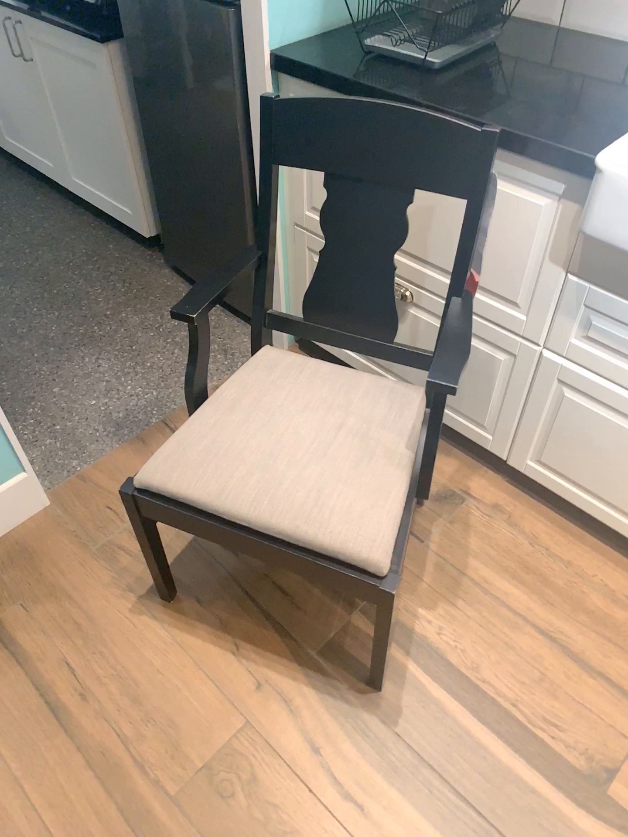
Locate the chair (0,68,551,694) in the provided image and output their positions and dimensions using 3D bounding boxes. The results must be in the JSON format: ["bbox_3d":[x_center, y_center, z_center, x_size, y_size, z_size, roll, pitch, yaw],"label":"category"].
[{"bbox_3d":[-0.008,-0.046,1.197,0.570,0.887,0.592,17,49,17],"label":"chair"}]
